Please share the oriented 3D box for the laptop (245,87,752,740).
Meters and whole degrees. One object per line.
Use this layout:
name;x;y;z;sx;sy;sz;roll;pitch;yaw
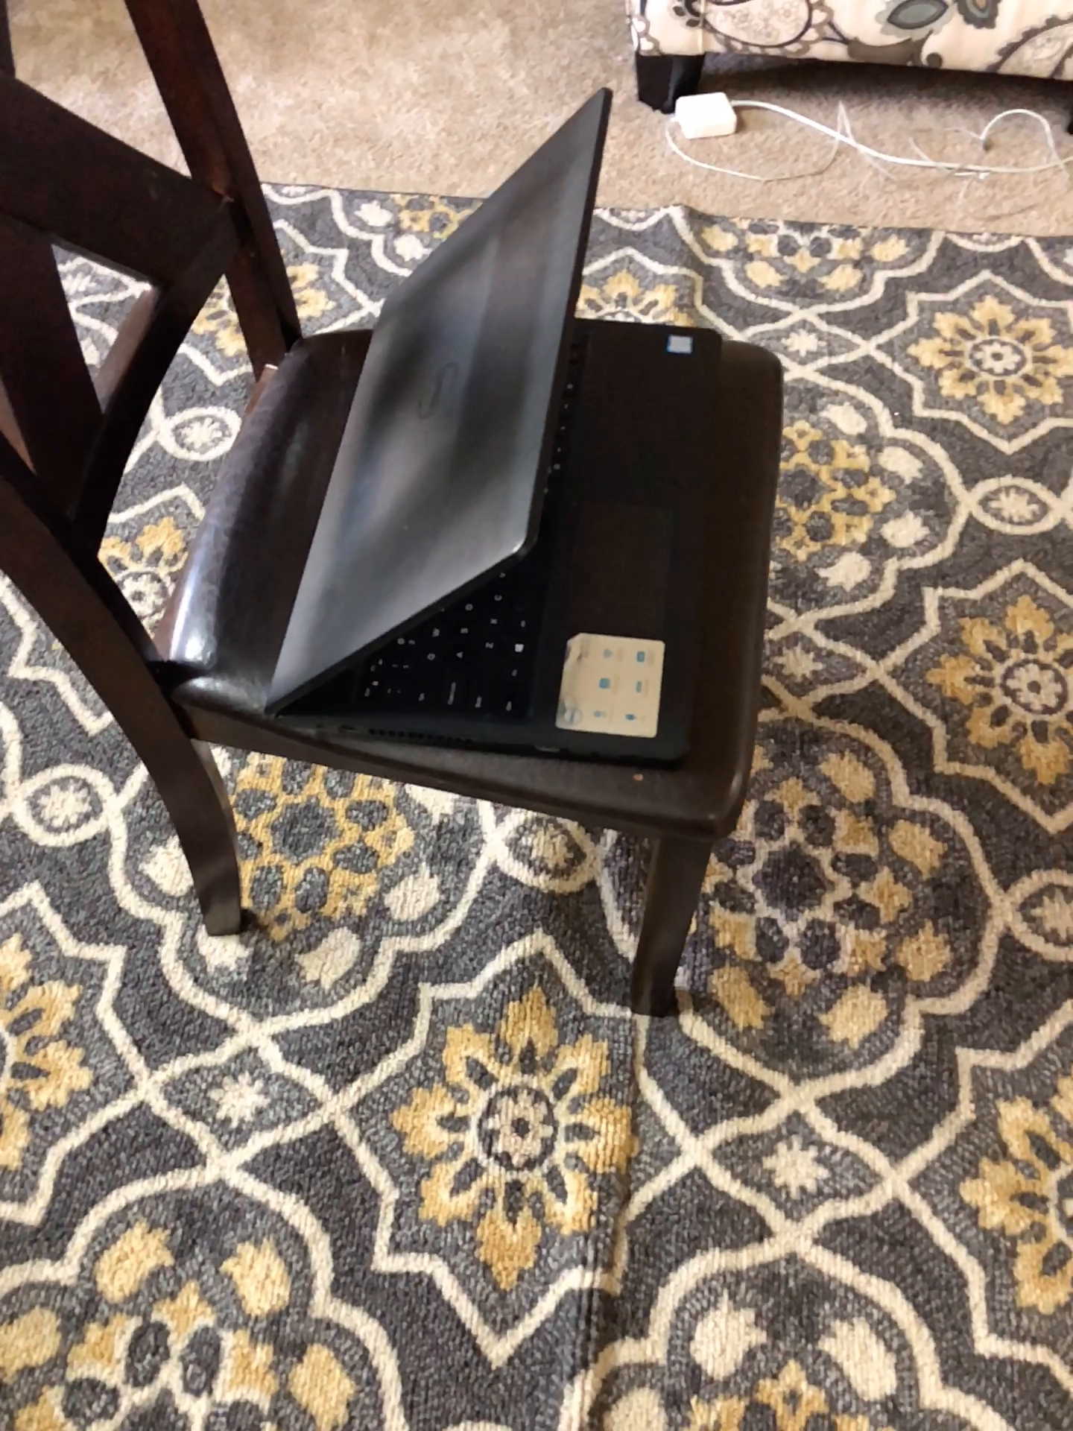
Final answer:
laptop;-0.001;-0.198;0.740;0.245;0.186;0.367;4;57;3
